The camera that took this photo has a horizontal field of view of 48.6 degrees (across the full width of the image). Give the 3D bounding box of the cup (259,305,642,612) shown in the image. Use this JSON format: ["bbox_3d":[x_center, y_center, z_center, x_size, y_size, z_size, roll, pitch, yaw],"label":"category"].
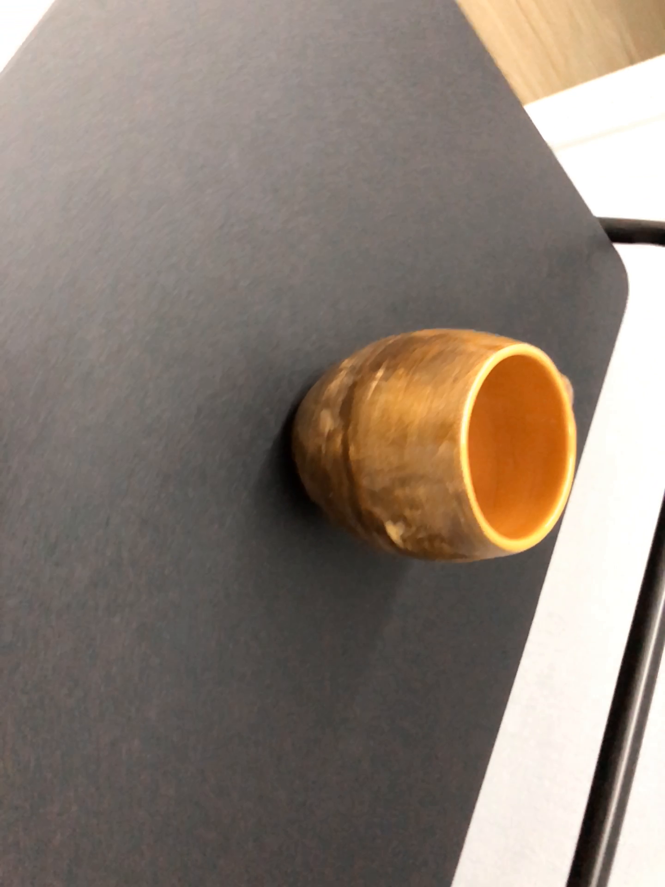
[{"bbox_3d":[0.055,-0.003,0.315,0.132,0.092,0.092,-15,101,-42],"label":"cup"}]
